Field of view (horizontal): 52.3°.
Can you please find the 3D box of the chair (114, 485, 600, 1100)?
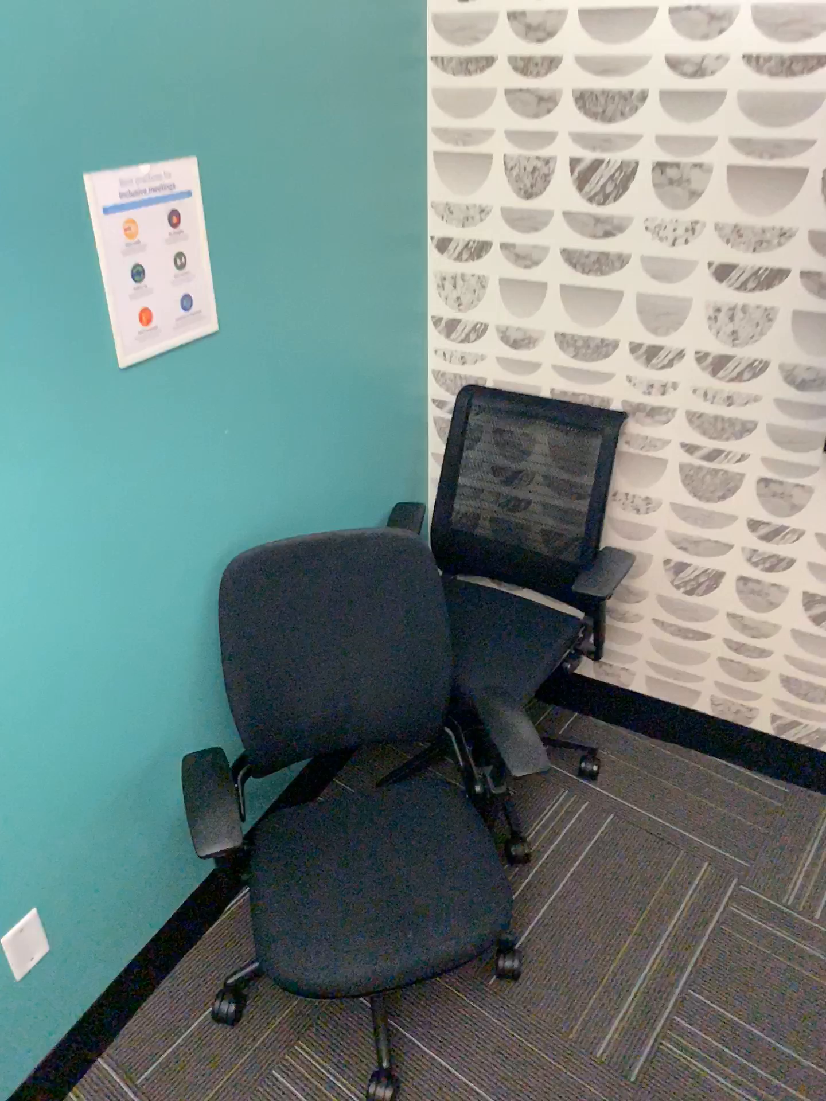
[{"bbox_3d":[-0.144,0.501,1.683,0.660,0.944,0.775,-8,31,-12],"label":"chair"}]
